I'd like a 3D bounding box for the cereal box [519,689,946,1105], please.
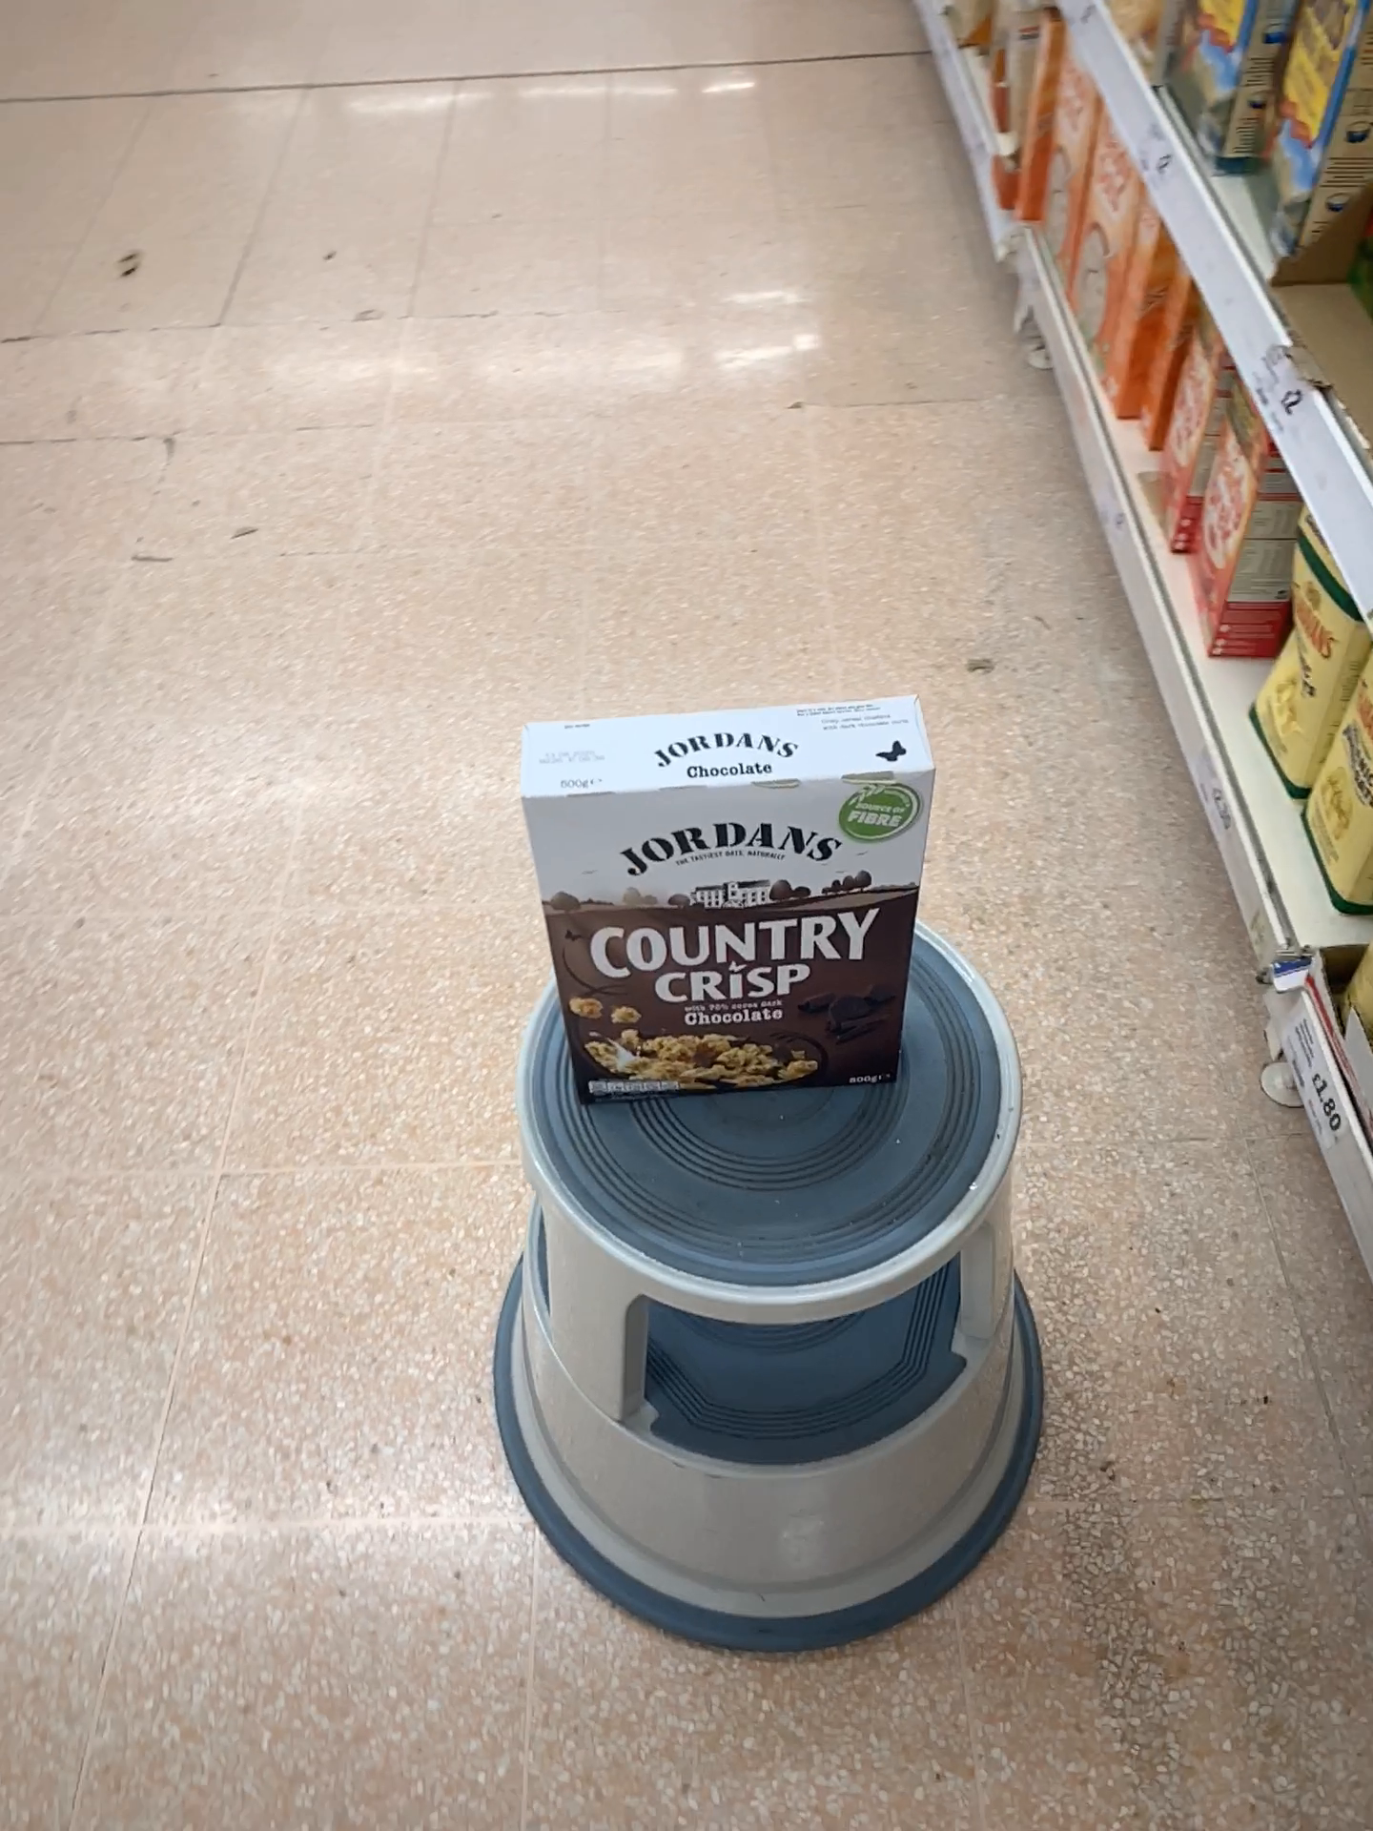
[{"bbox_3d":[0.023,0.003,0.699,0.180,0.248,0.050,-4,51,0],"label":"cereal box"}]
